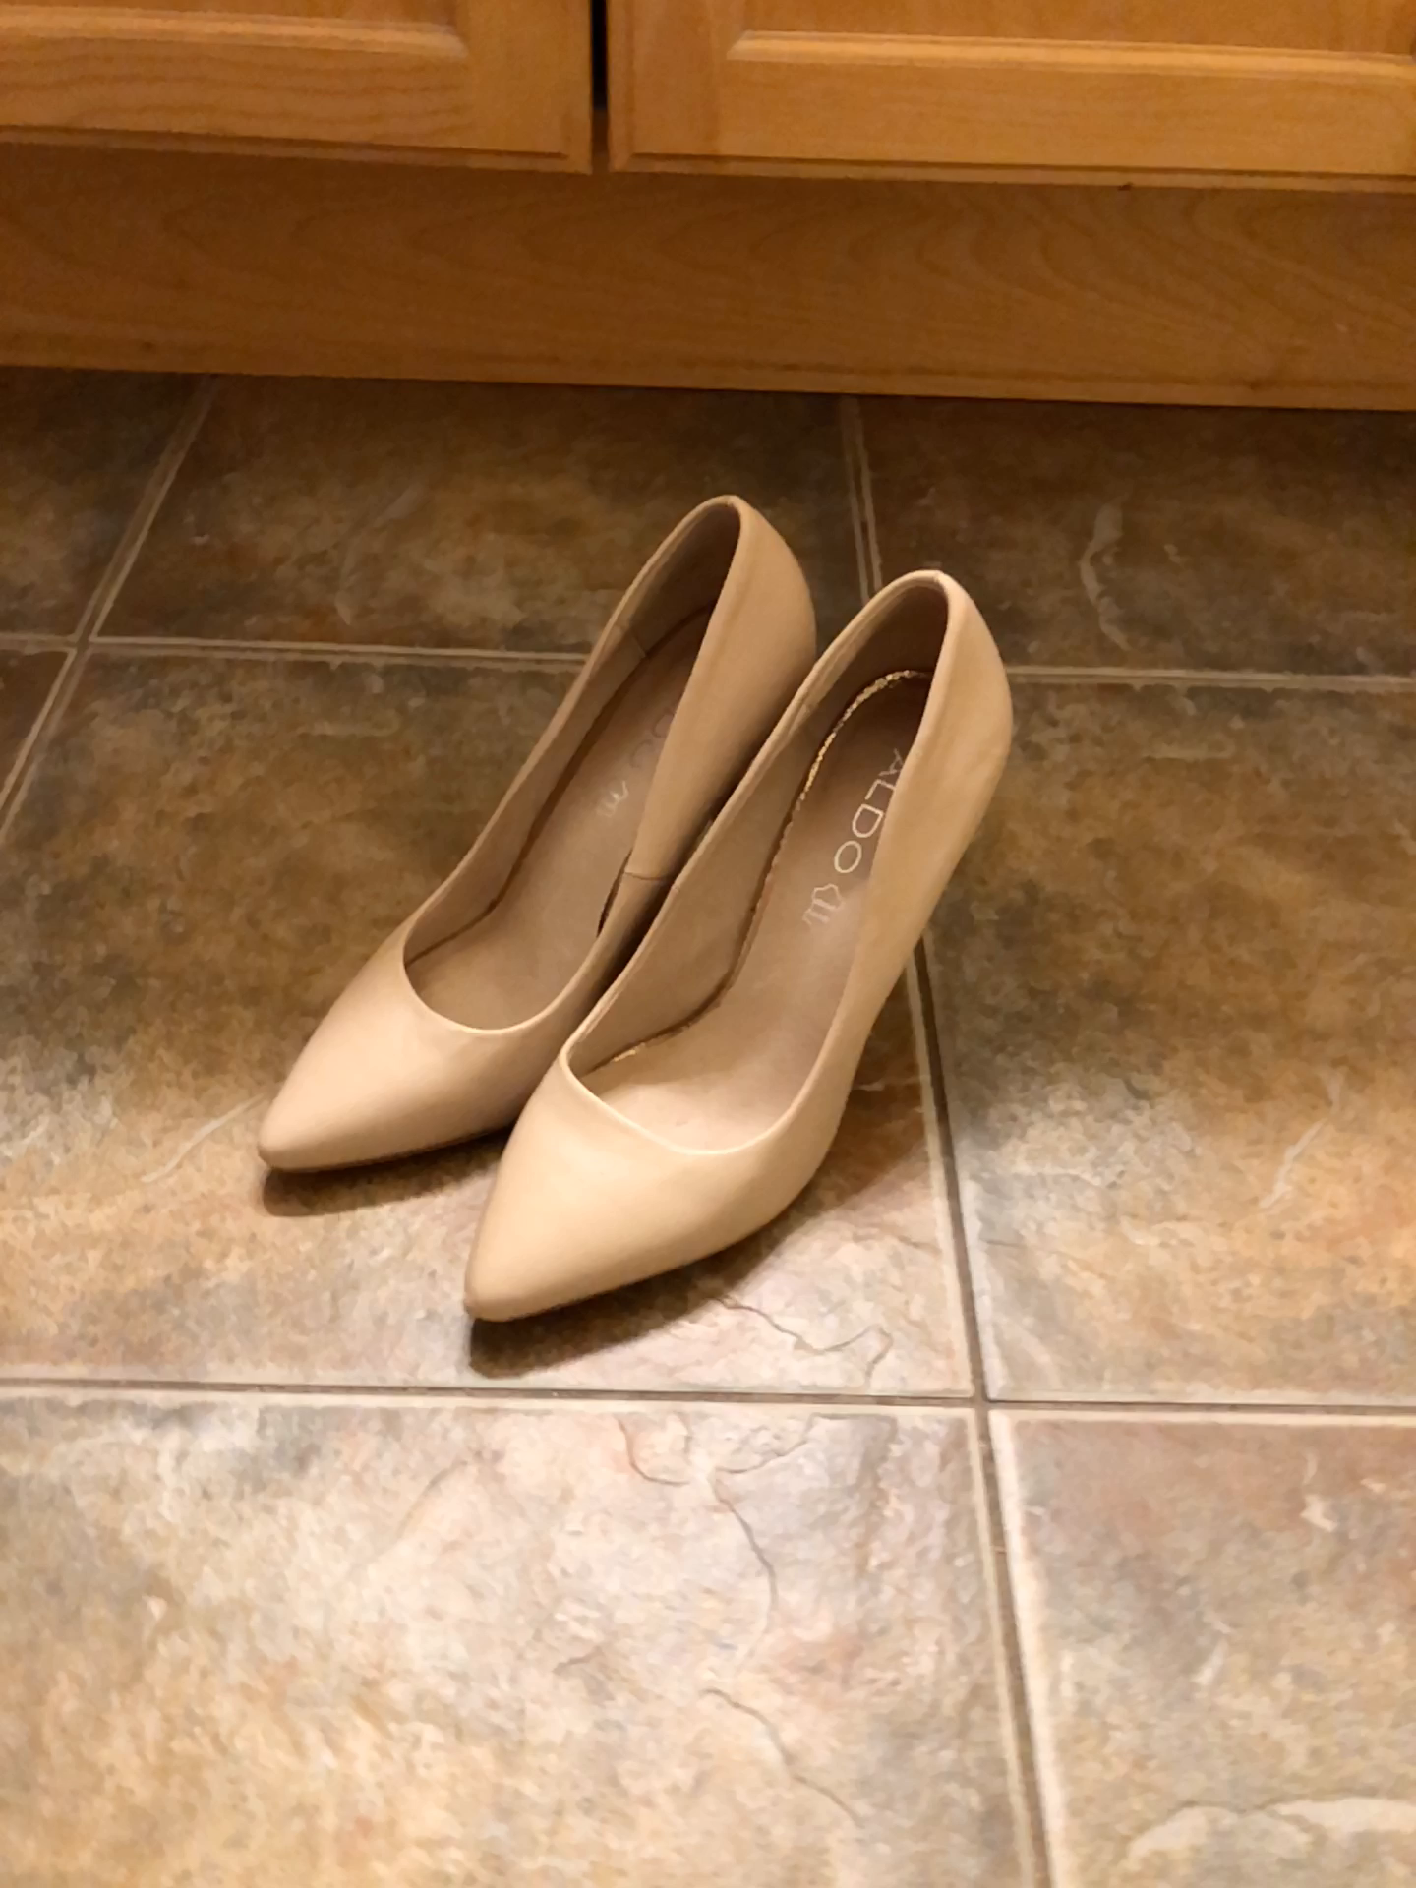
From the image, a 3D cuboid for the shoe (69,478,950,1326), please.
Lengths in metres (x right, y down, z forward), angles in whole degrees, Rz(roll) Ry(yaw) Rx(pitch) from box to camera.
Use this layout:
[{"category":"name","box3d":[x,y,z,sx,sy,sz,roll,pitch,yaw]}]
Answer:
[{"category":"shoe","box3d":[-0.045,-0.019,0.467,0.231,0.149,0.080,-32,54,-30]}]

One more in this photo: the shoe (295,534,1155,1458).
[{"category":"shoe","box3d":[0.014,0.004,0.428,0.080,0.129,0.231,32,52,26]}]
